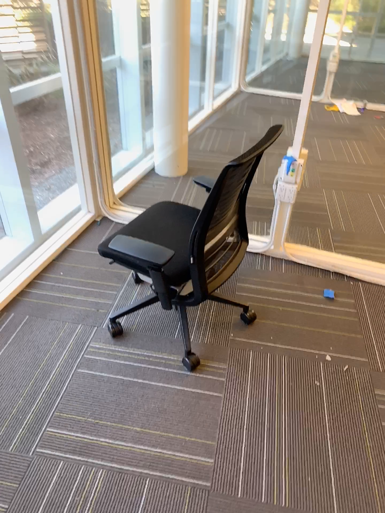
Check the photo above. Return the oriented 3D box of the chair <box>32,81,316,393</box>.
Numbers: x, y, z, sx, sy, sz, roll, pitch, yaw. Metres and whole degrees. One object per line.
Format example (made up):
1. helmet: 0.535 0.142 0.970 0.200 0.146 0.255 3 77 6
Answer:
1. chair: -0.039 -0.132 1.629 0.731 0.894 0.703 20 39 22
